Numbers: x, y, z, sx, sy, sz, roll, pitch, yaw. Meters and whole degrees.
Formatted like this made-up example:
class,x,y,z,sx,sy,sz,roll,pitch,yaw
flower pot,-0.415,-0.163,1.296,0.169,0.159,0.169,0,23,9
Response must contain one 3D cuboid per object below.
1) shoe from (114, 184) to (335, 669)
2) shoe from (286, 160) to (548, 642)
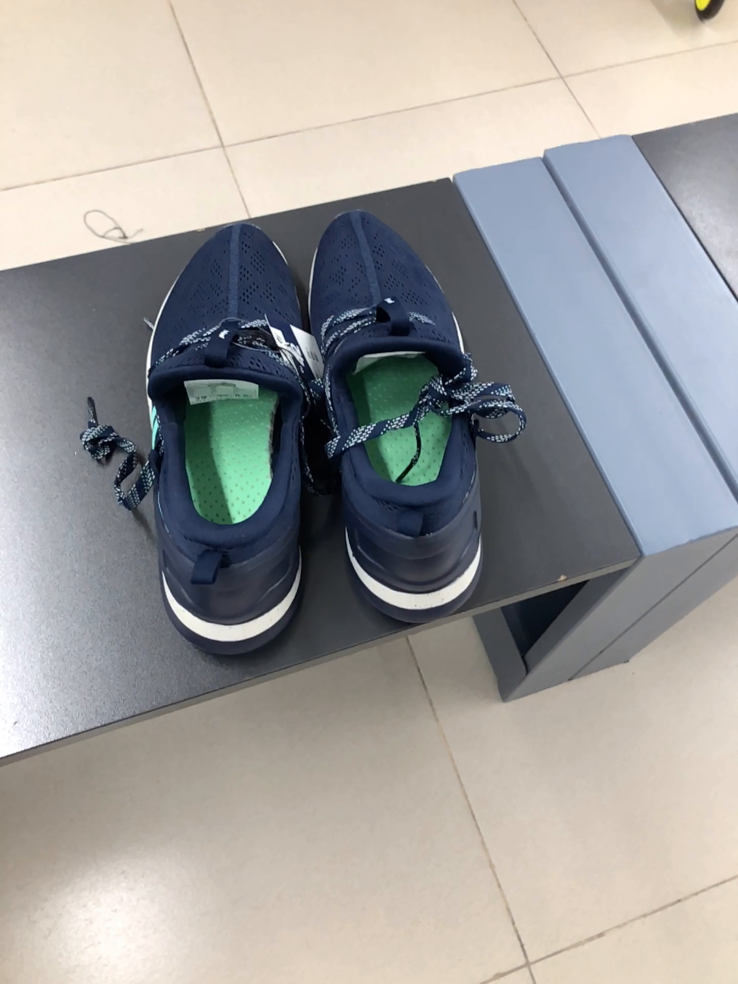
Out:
class,x,y,z,sx,sy,sz,roll,pitch,yaw
shoe,-0.084,-0.040,0.479,0.100,0.120,0.251,-6,65,-6
shoe,0.015,-0.055,0.481,0.100,0.120,0.251,-6,65,-6
